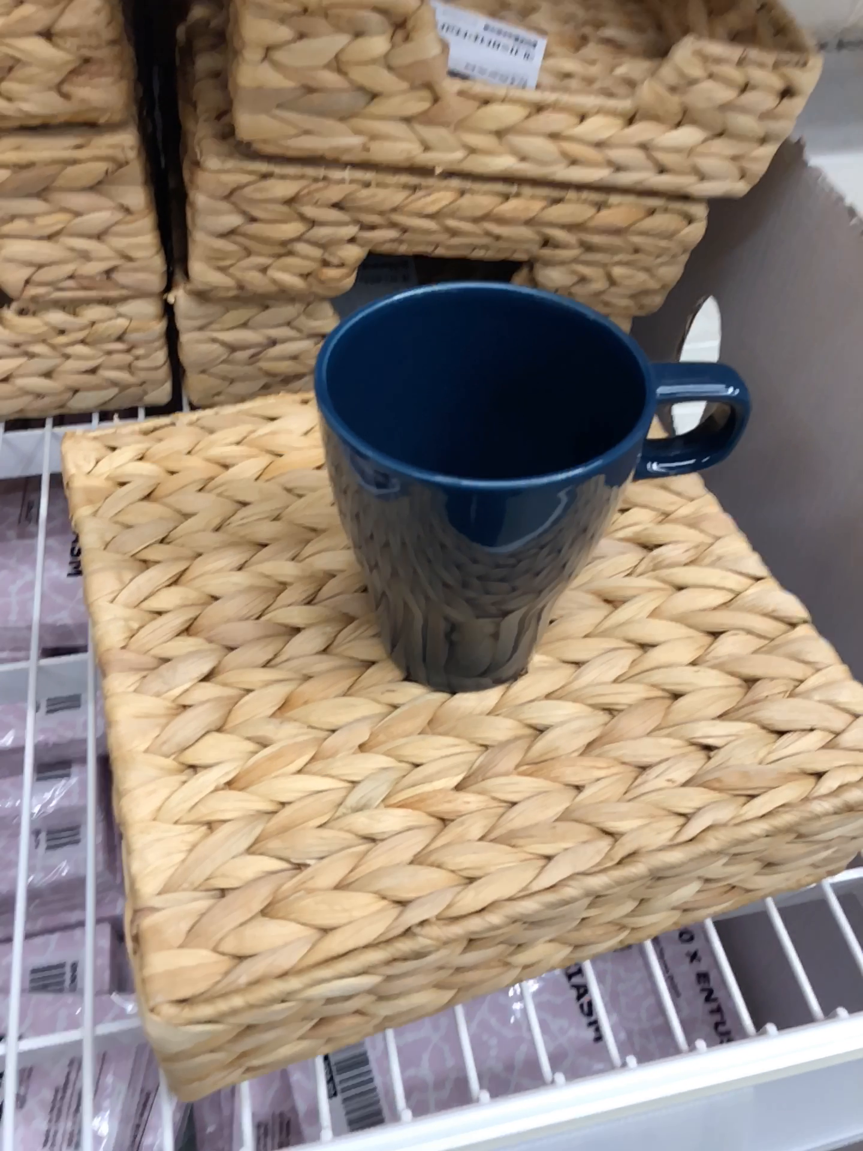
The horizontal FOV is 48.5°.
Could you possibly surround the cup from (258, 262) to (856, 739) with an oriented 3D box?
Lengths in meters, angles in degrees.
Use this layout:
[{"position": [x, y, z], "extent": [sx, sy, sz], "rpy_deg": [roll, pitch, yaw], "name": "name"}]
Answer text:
[{"position": [0.022, -0.019, 0.249], "extent": [0.120, 0.090, 0.080], "rpy_deg": [-2, 48, -5], "name": "cup"}]
